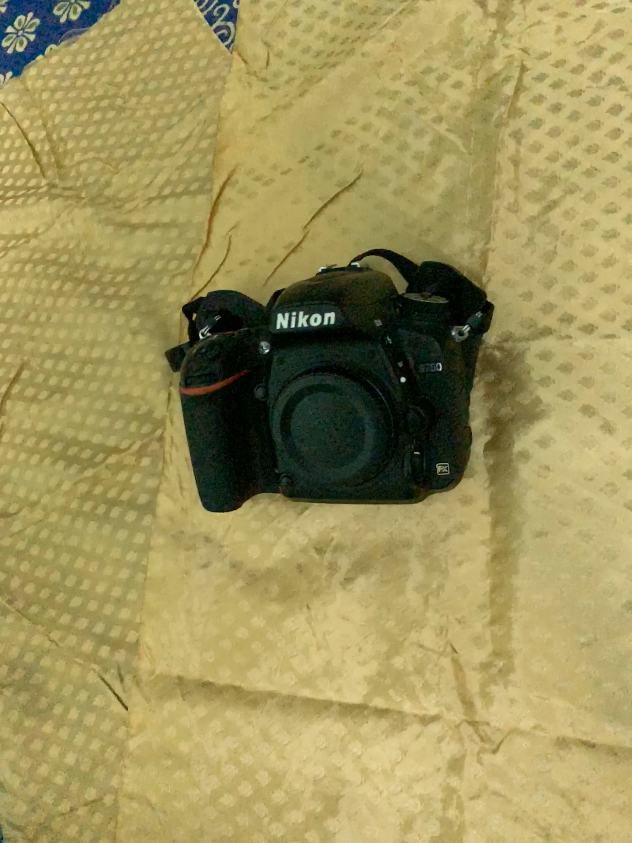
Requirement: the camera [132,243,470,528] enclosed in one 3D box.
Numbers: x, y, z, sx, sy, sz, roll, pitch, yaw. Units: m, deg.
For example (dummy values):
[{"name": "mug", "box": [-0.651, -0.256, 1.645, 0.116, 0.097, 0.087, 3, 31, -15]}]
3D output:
[{"name": "camera", "box": [-0.001, -0.018, 0.312, 0.130, 0.073, 0.110, -1, 107, 22]}]
